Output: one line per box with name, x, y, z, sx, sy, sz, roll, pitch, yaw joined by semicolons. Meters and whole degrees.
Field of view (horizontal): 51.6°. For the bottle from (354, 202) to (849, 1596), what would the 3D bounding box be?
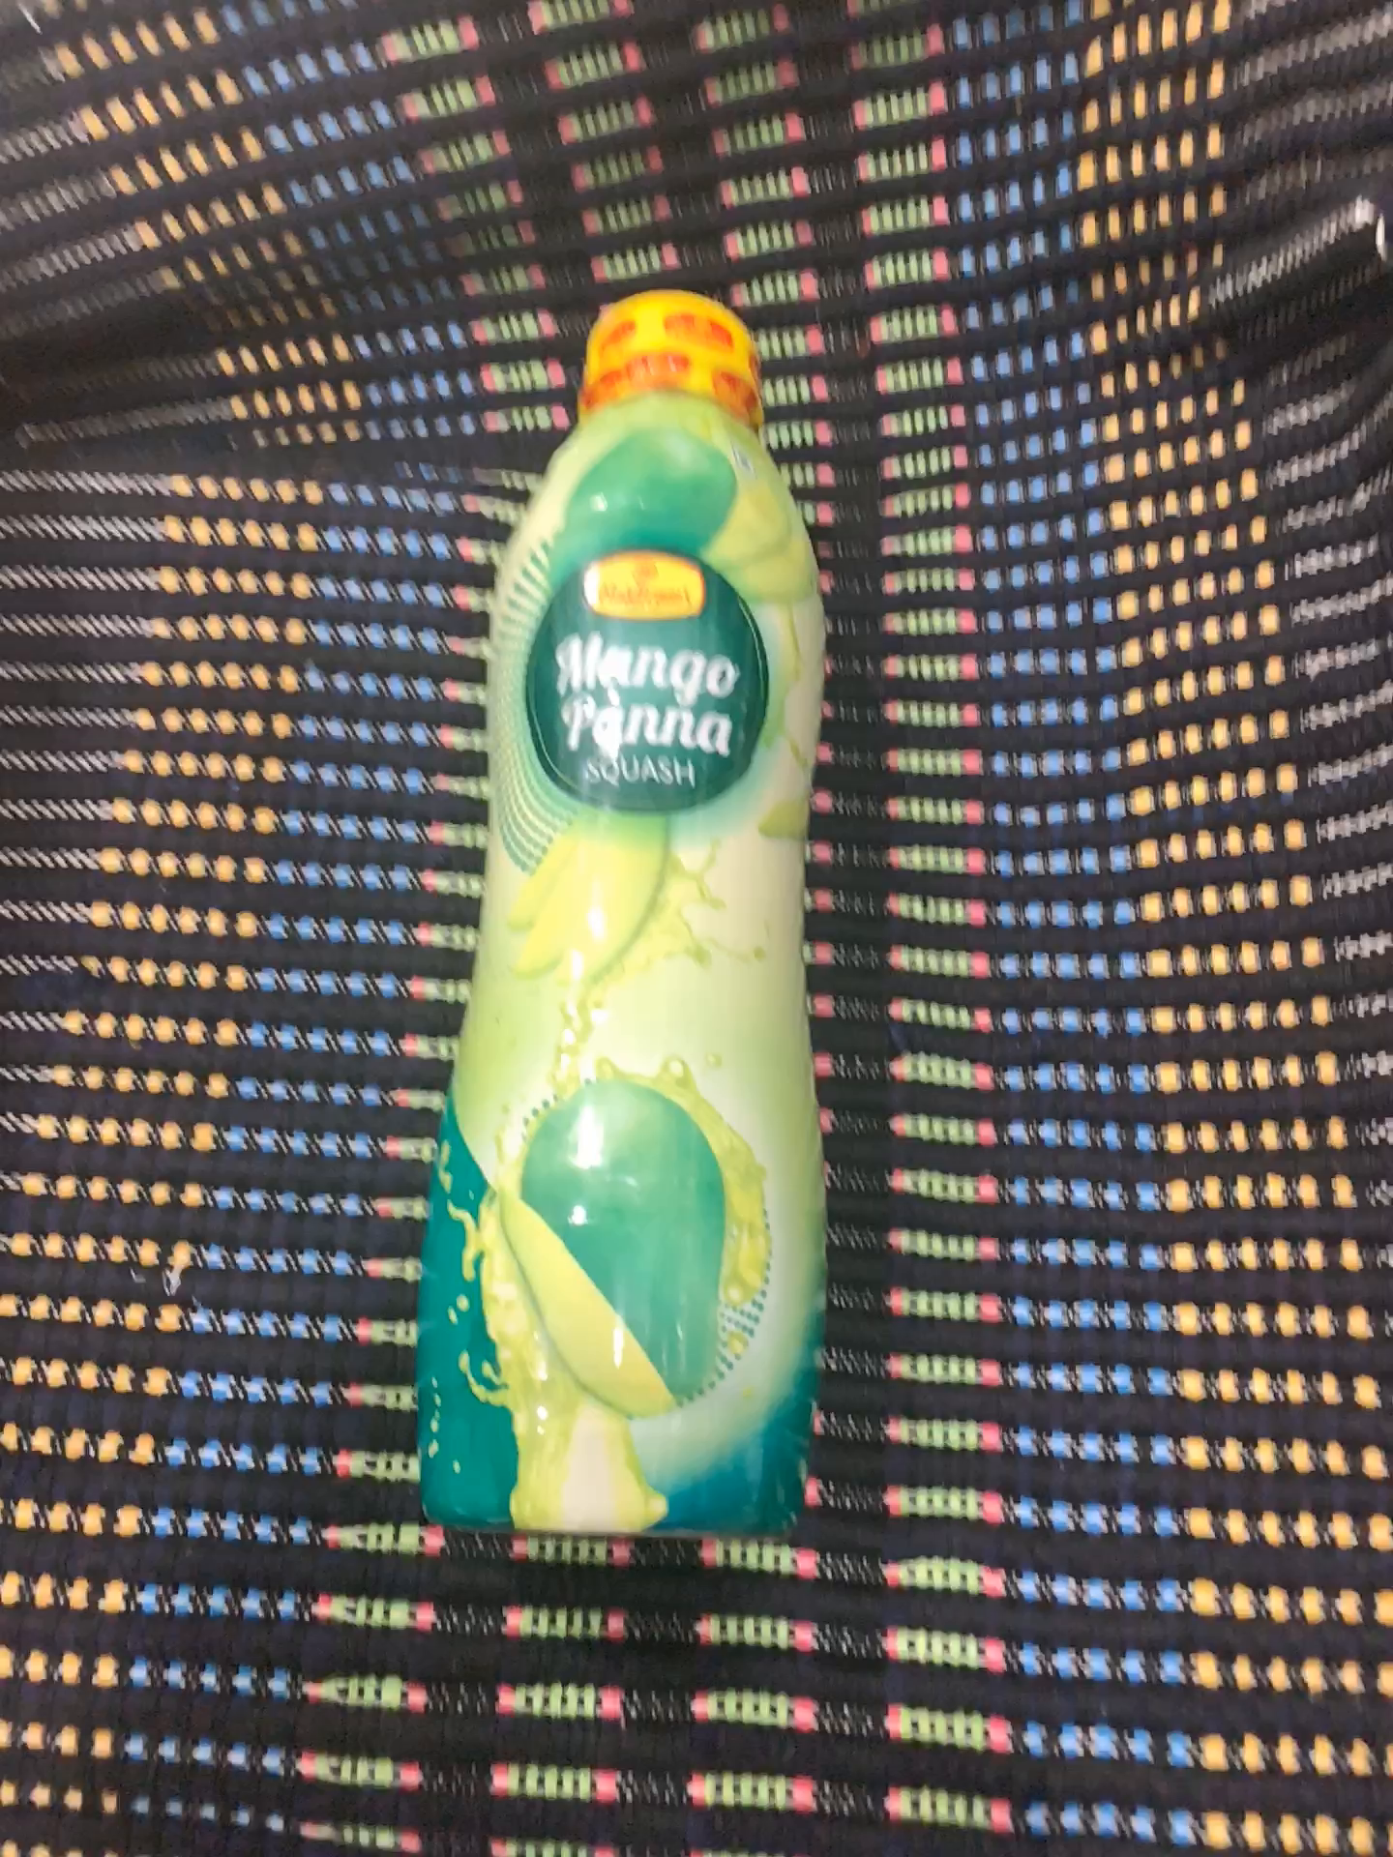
bottle;-0.009;-0.021;0.281;0.070;0.050;0.271;3;67;-1
